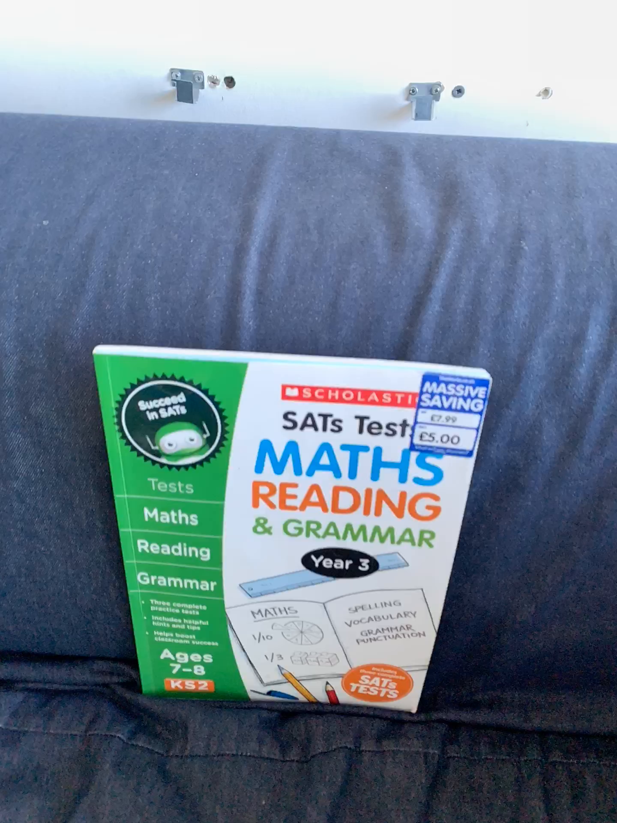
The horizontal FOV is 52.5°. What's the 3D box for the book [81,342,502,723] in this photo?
[{"bbox_3d":[-0.014,0.098,0.398,0.209,0.293,0.022,3,33,1],"label":"book"}]
